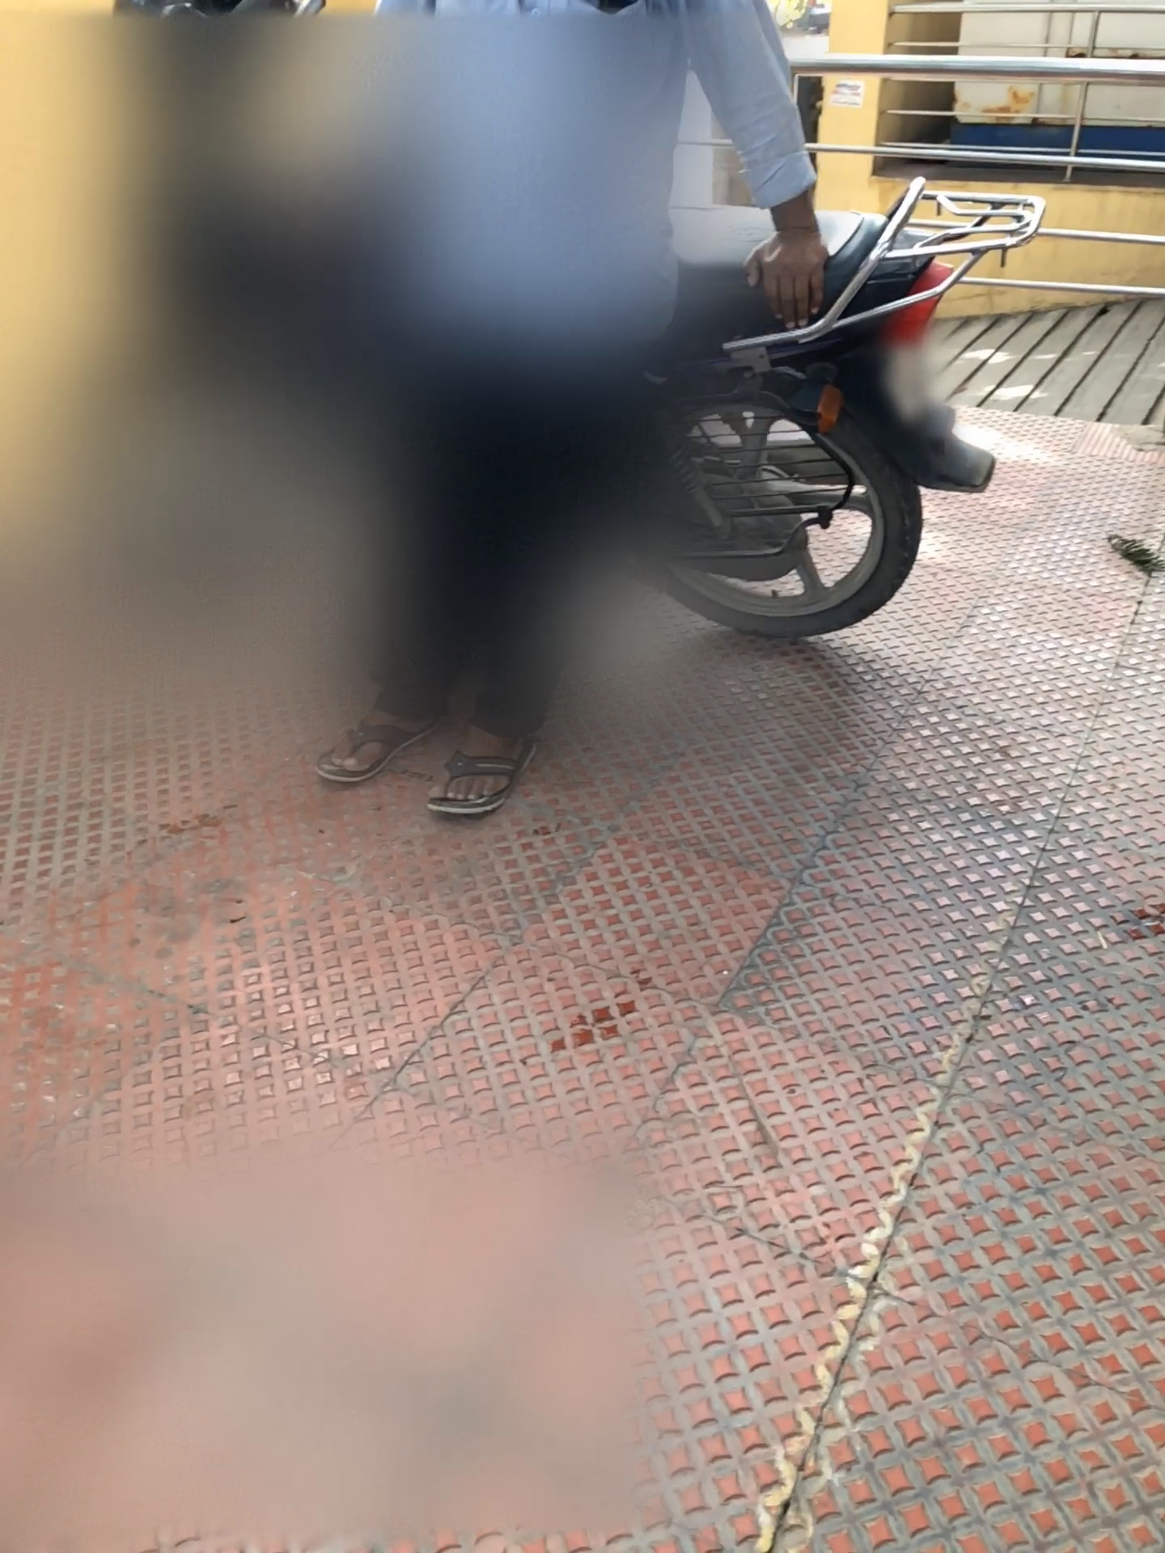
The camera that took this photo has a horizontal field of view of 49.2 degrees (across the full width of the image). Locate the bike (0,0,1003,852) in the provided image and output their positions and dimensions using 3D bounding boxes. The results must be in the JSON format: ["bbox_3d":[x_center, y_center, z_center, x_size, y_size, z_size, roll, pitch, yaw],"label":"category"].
[{"bbox_3d":[-0.288,-0.692,2.083,1.672,1.007,0.927,10,34,13],"label":"bike"}]
